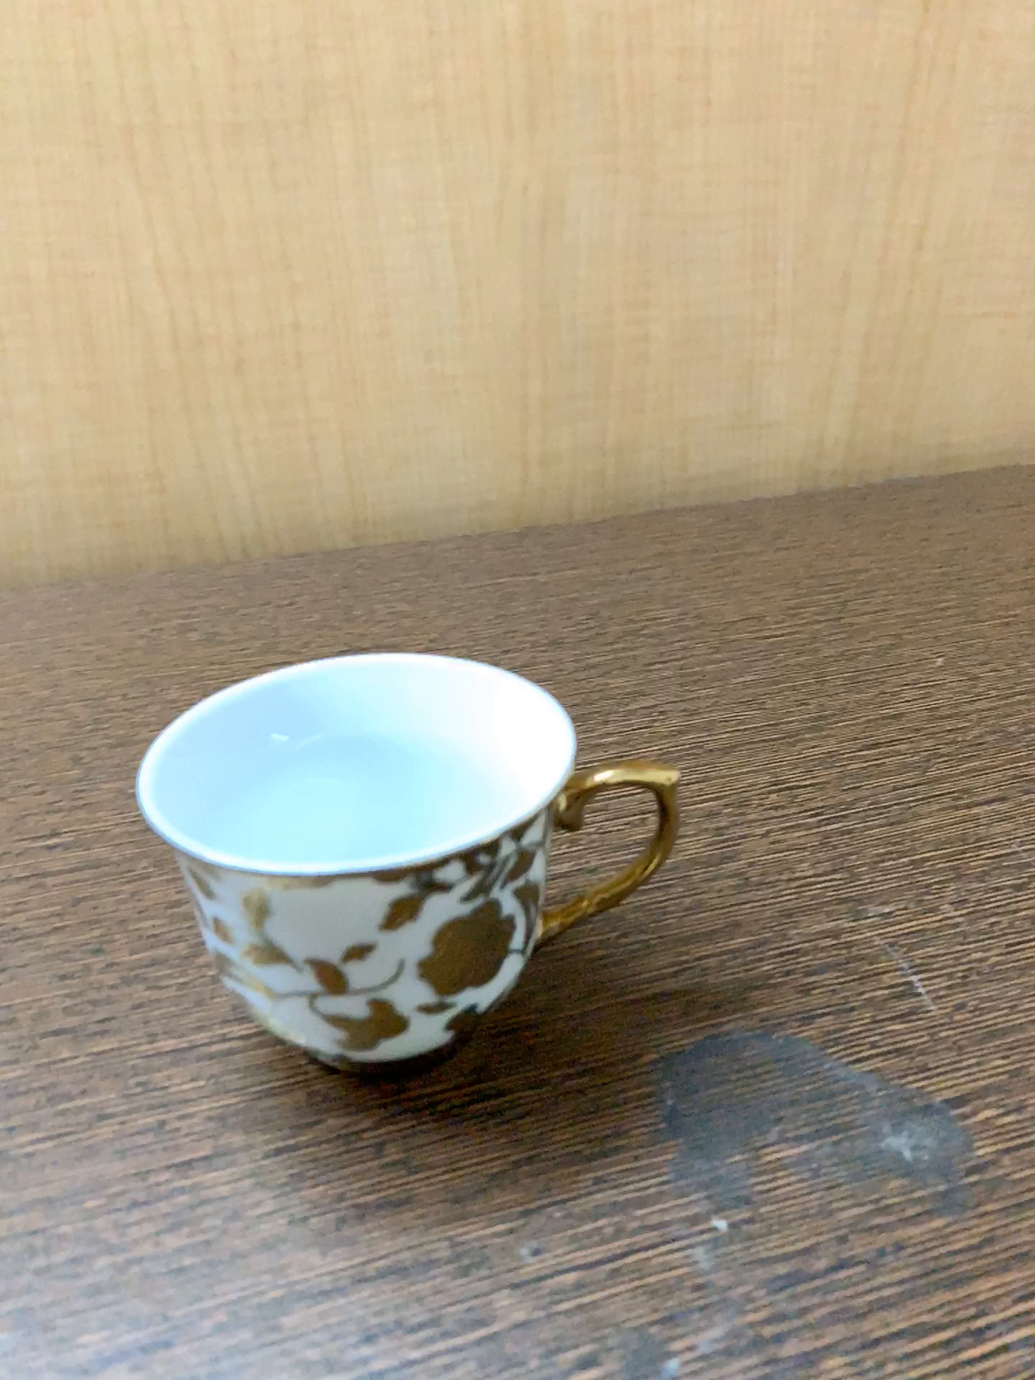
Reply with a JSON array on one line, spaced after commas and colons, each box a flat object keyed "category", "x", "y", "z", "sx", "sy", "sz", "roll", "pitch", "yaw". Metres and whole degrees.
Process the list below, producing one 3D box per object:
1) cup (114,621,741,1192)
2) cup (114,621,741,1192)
[{"category": "cup", "x": -0.015, "y": 0.029, "z": 0.178, "sx": 0.080, "sy": 0.050, "sz": 0.071, "roll": -7, "pitch": 26, "yaw": -9}, {"category": "cup", "x": -0.015, "y": 0.029, "z": 0.178, "sx": 0.080, "sy": 0.050, "sz": 0.071, "roll": -7, "pitch": 26, "yaw": -9}]
